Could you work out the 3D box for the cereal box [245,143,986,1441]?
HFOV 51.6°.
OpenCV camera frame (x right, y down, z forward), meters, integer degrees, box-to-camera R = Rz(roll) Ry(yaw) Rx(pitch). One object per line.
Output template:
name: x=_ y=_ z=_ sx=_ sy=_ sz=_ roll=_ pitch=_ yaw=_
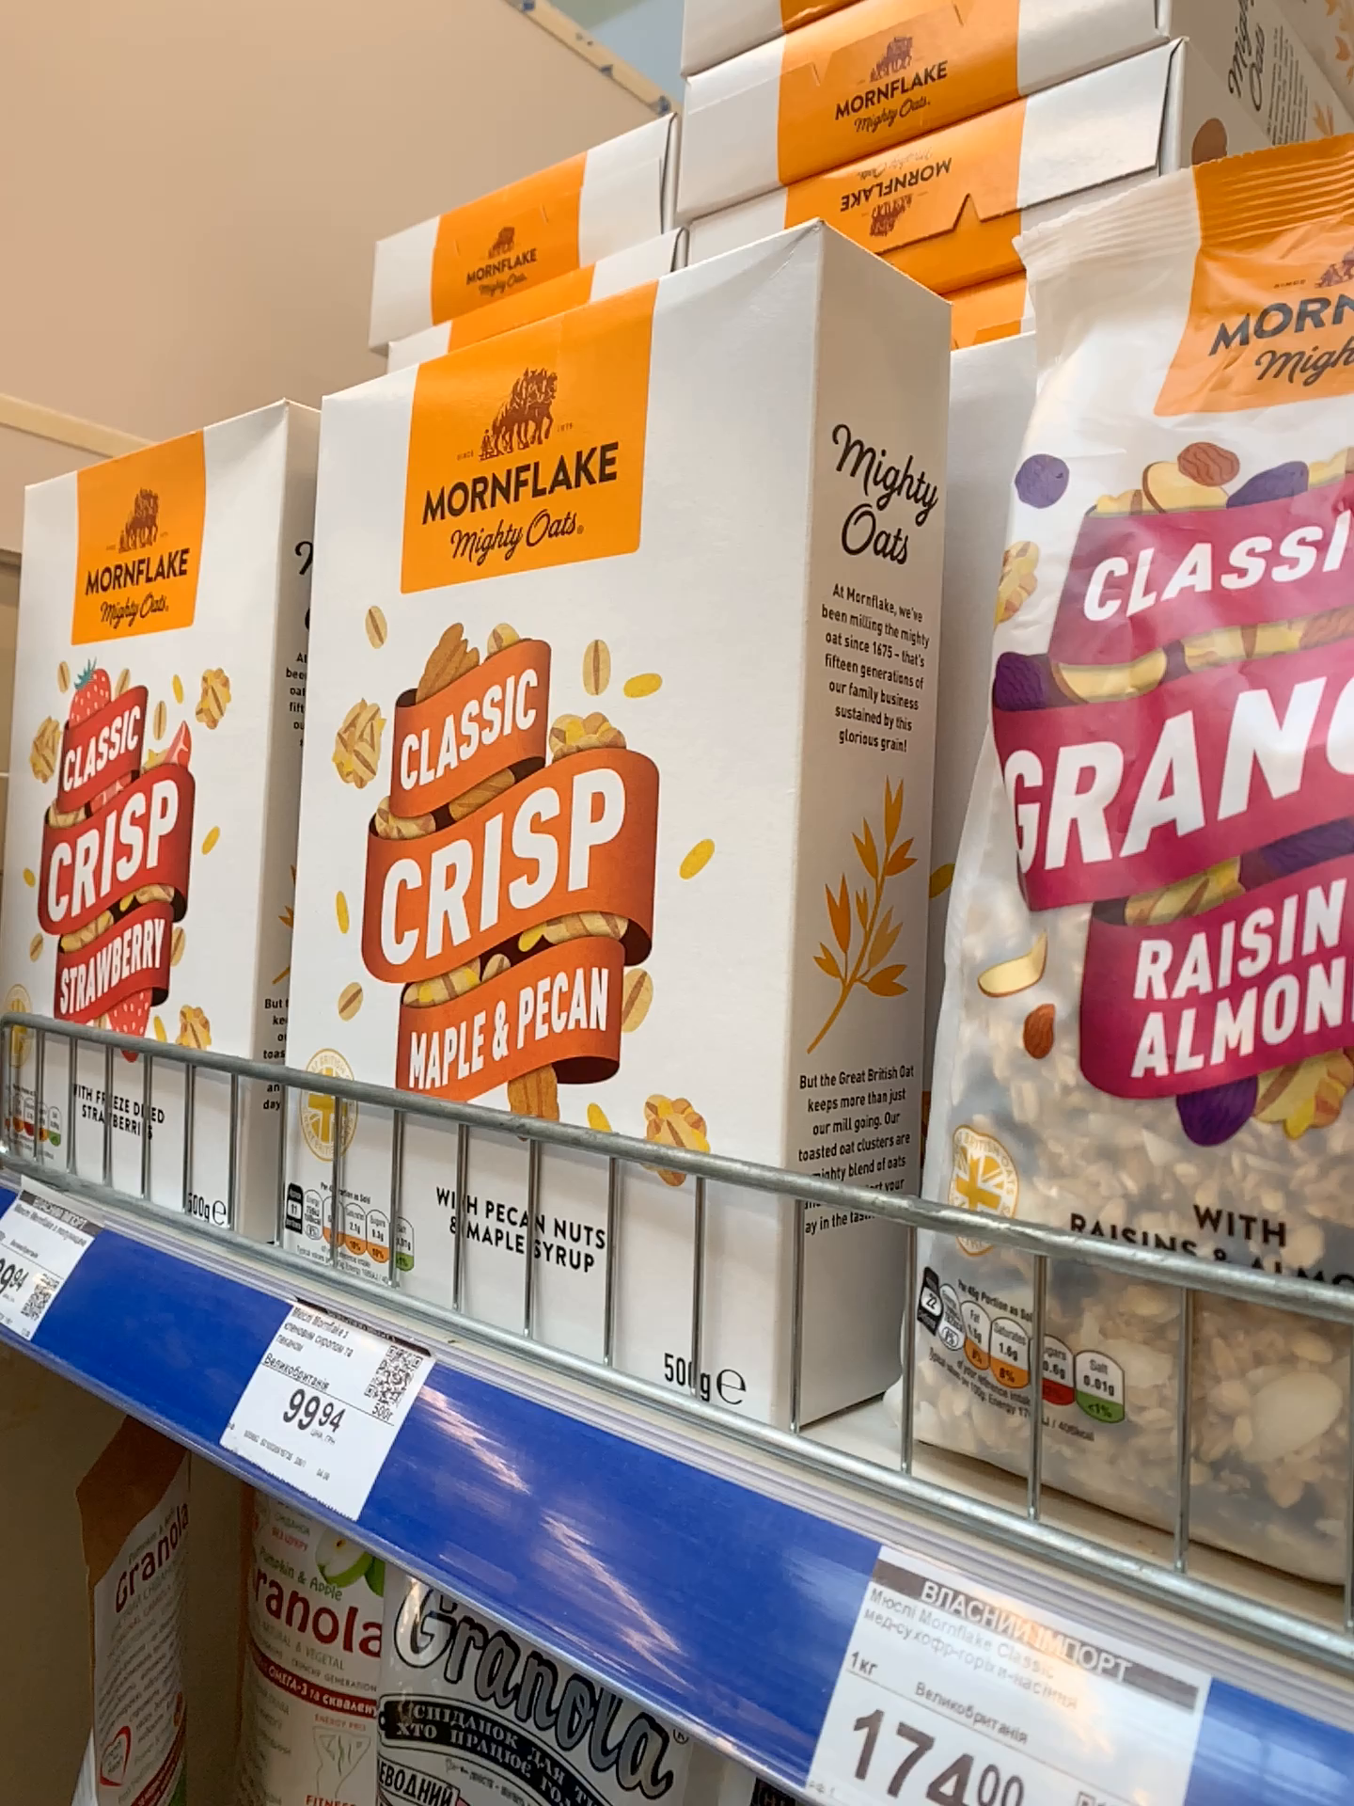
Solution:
cereal box: x=-0.026 y=-0.025 z=0.355 sx=0.190 sy=0.250 sz=0.060 roll=2 pitch=-1 yaw=42
